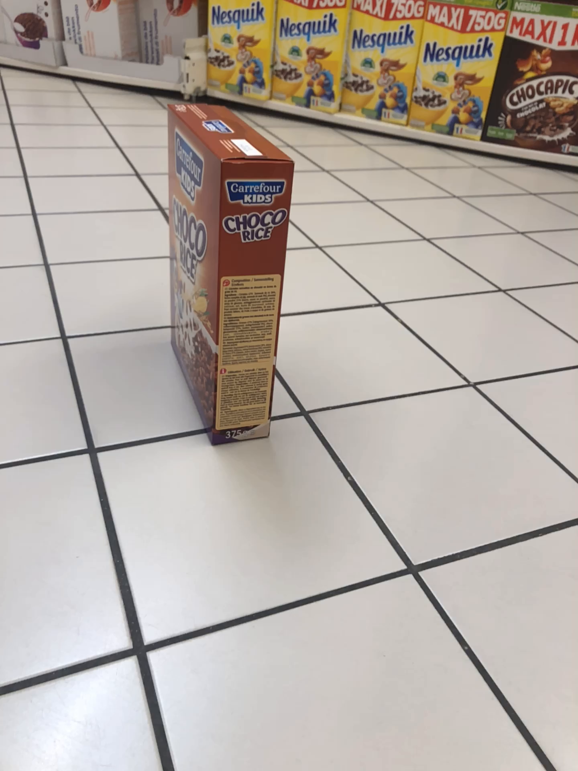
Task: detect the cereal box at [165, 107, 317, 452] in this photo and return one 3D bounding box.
[{"bbox_3d":[-0.057,-0.101,0.571,0.070,0.239,0.201,-6,34,-19],"label":"cereal box"}]
